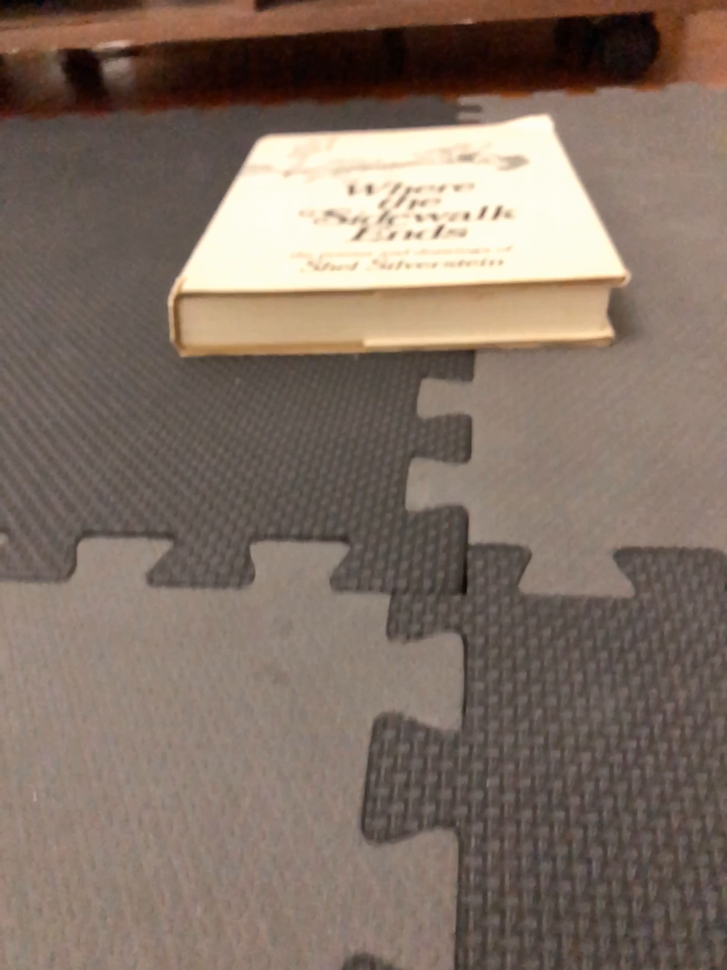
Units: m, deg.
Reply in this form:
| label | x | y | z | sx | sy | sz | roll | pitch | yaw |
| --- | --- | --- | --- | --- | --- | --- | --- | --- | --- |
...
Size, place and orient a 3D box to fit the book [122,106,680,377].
| label | x | y | z | sx | sy | sz | roll | pitch | yaw |
| --- | --- | --- | --- | --- | --- | --- | --- | --- | --- |
| book | 0.021 | -0.139 | 0.416 | 0.200 | 0.030 | 0.282 | -1 | 36 | 6 |
